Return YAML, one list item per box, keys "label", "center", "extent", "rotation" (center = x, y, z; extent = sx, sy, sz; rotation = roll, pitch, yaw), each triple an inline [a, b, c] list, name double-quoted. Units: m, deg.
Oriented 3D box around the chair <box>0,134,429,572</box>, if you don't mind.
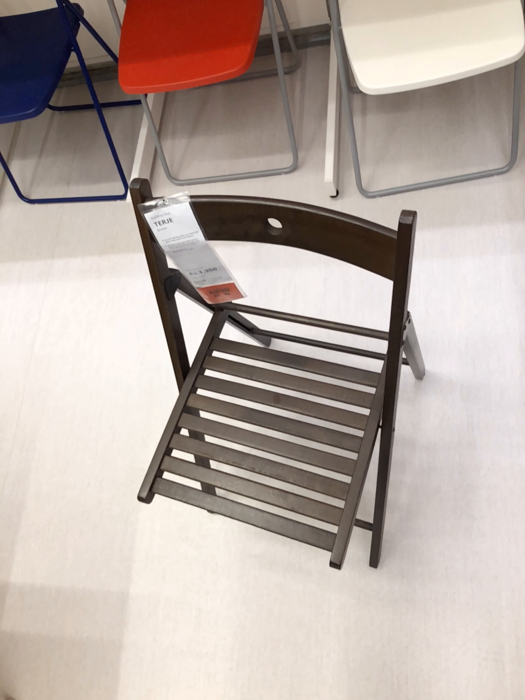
- label: "chair"
  center: [0.020, 0.082, 1.081]
  extent: [0.461, 0.778, 0.501]
  rotation: [12, 73, 20]
